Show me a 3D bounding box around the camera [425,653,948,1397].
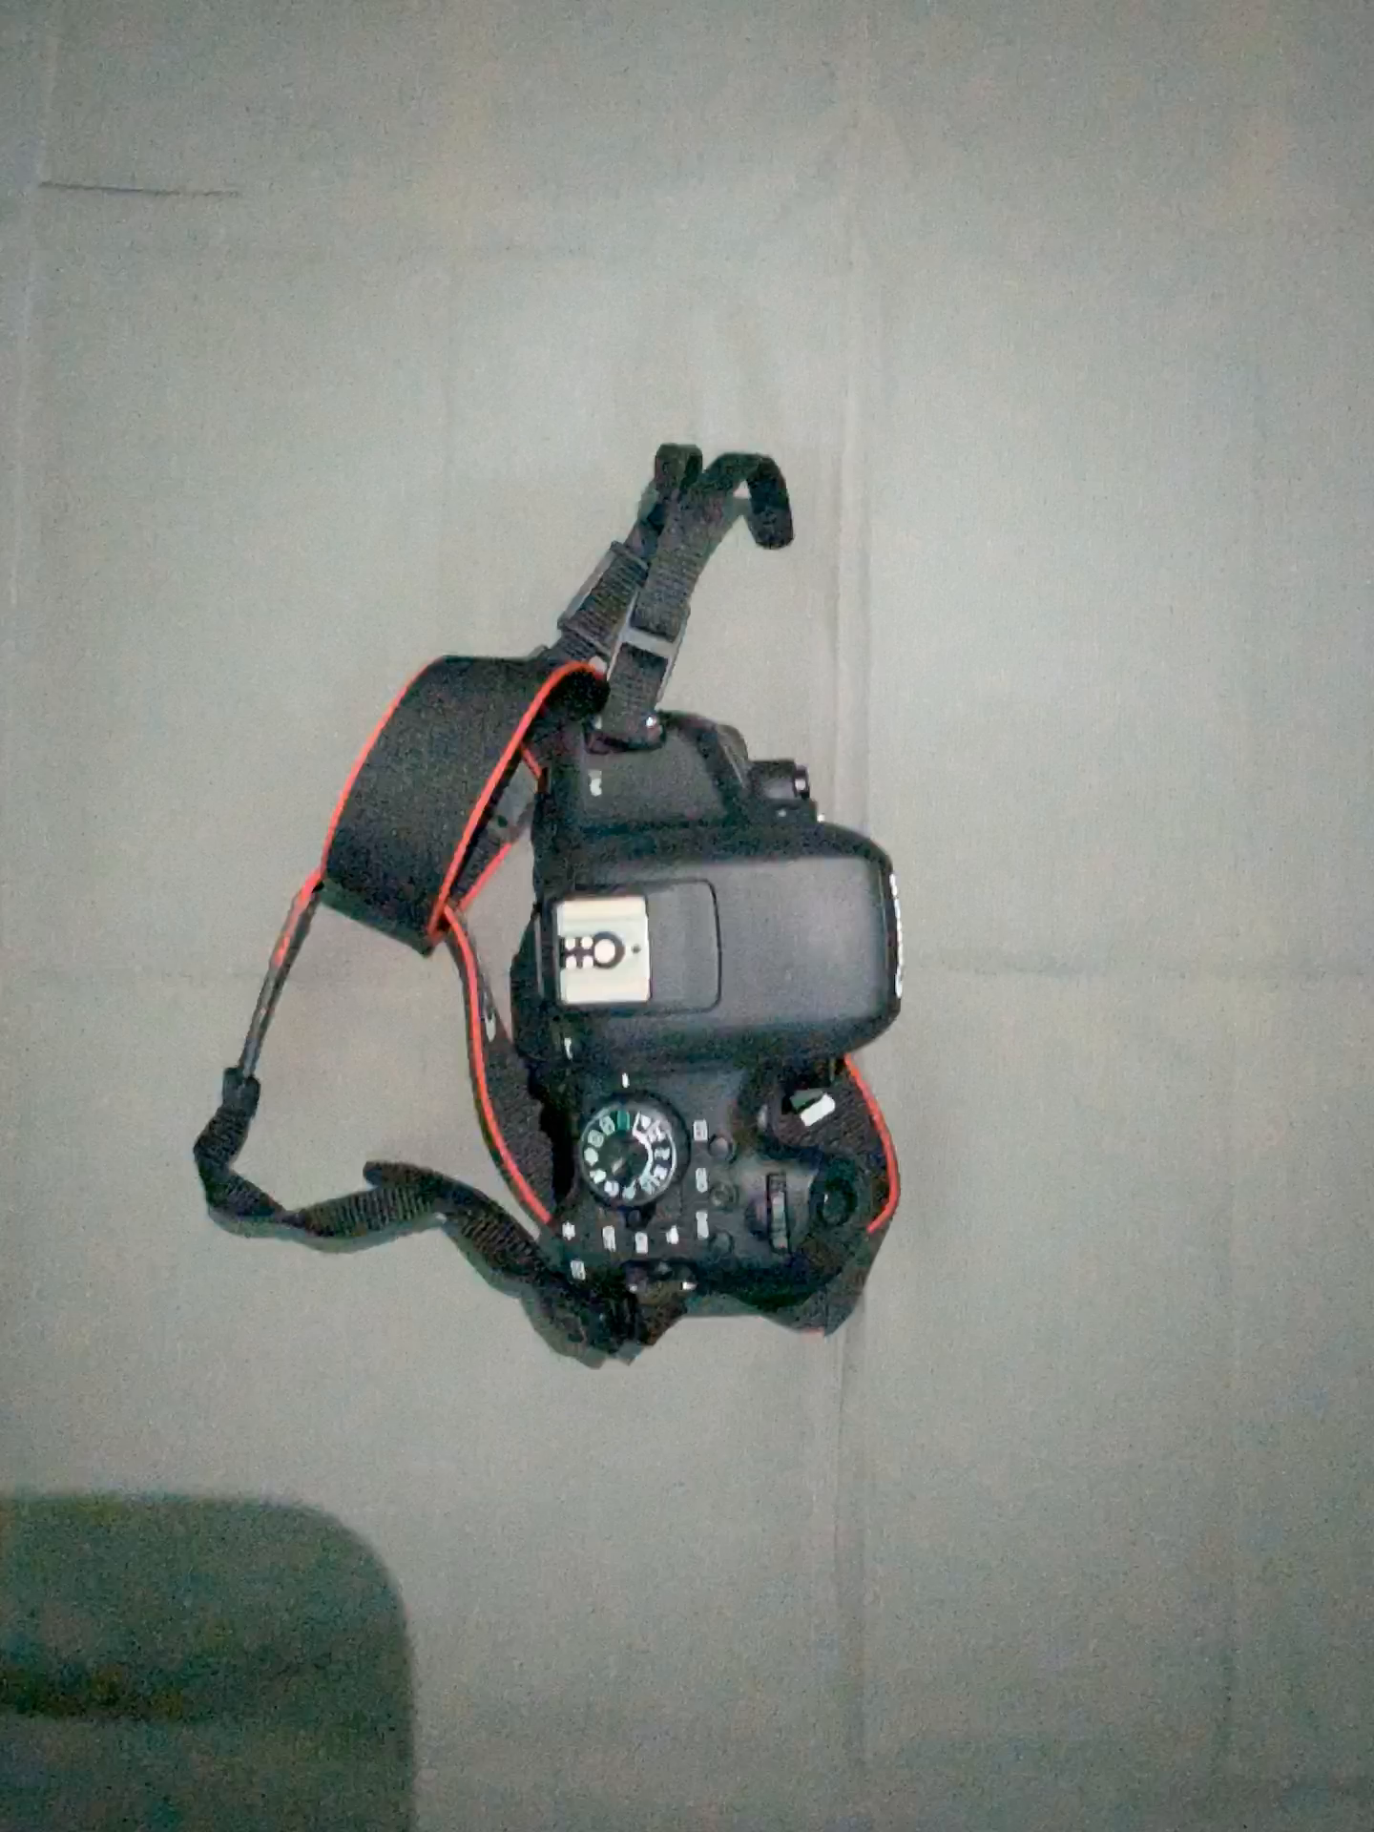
[{"bbox_3d":[0.000,0.023,0.305,0.090,0.088,0.132,-3,84,1],"label":"camera"}]
